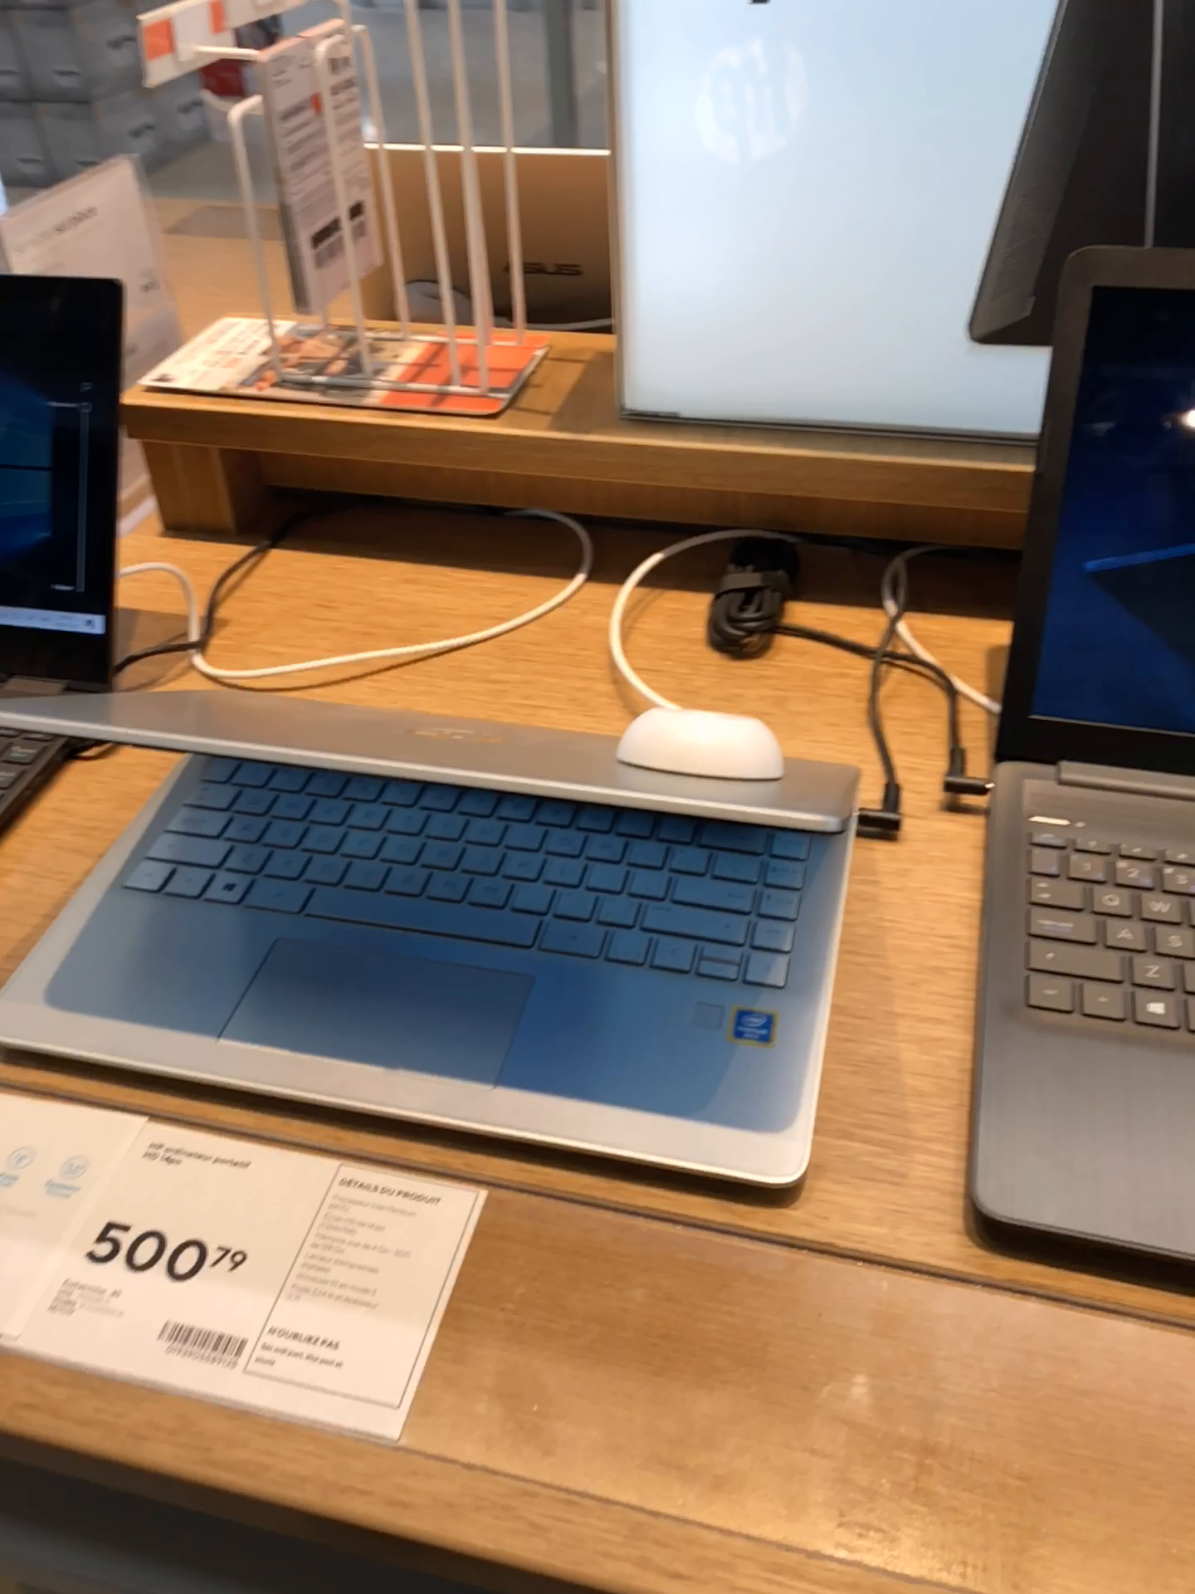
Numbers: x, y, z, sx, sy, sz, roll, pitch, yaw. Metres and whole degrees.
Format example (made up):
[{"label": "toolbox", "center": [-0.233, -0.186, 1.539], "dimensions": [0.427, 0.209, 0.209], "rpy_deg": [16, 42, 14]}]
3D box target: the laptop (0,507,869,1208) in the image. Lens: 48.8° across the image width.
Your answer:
[{"label": "laptop", "center": [-0.068, 0.003, 0.513], "dimensions": [0.314, 0.110, 0.217], "rpy_deg": [7, 42, 12]}]
